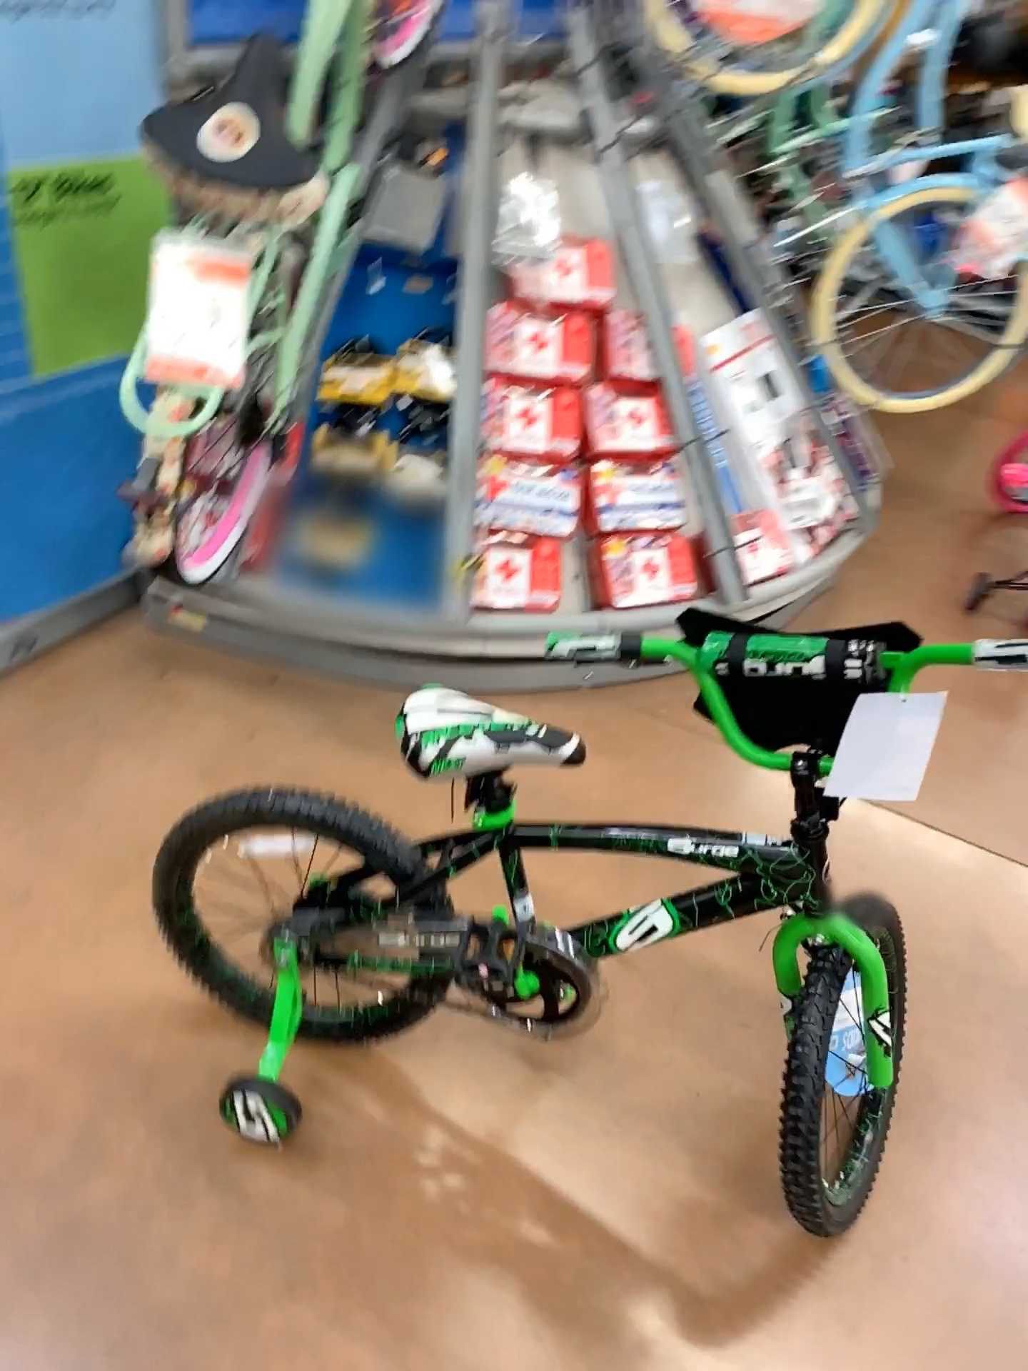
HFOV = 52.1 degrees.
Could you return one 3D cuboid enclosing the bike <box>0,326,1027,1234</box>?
[{"bbox_3d":[0.061,0.145,1.377,1.051,0.914,0.639,7,35,-3],"label":"bike"}]
